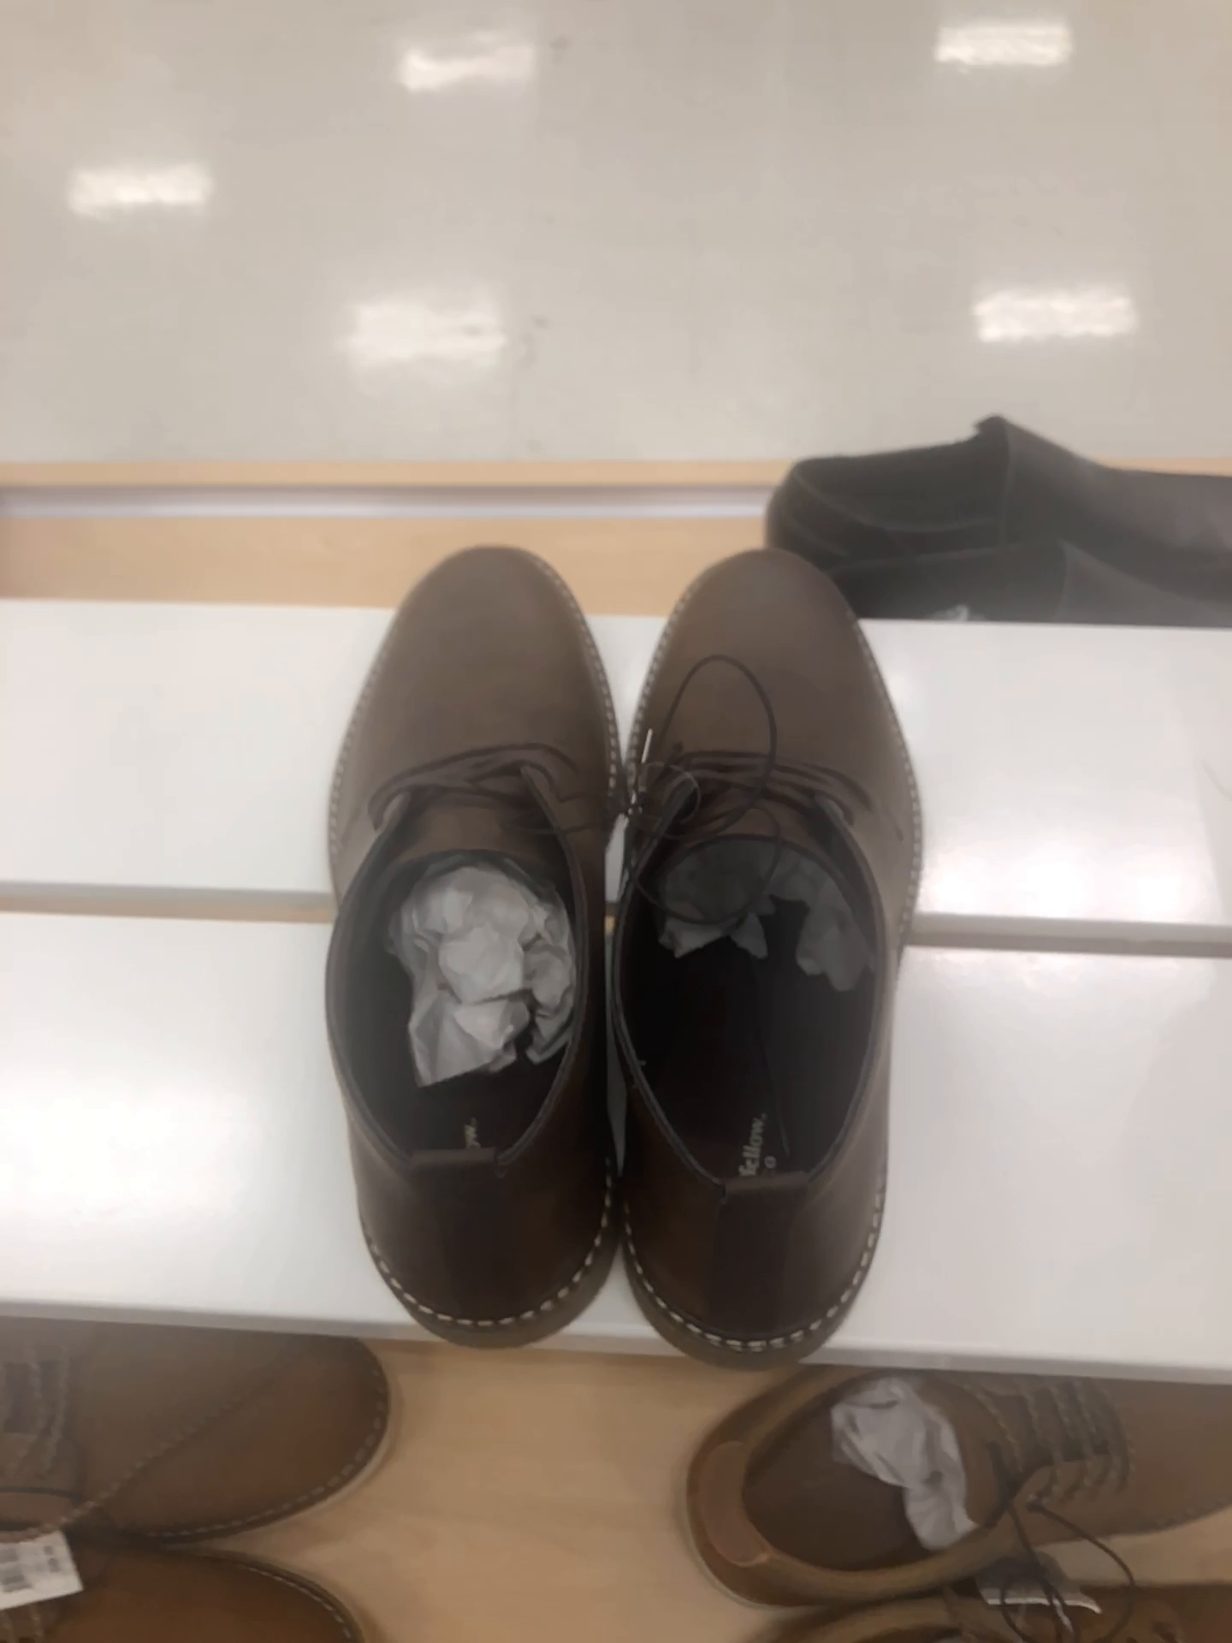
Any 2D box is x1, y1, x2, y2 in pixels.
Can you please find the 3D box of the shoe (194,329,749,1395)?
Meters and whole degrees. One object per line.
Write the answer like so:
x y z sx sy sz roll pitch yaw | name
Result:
-0.046 0.009 0.472 0.127 0.173 0.315 -4 58 -3 | shoe

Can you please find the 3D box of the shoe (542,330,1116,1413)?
0.066 0.013 0.472 0.132 0.173 0.315 6 59 3 | shoe
